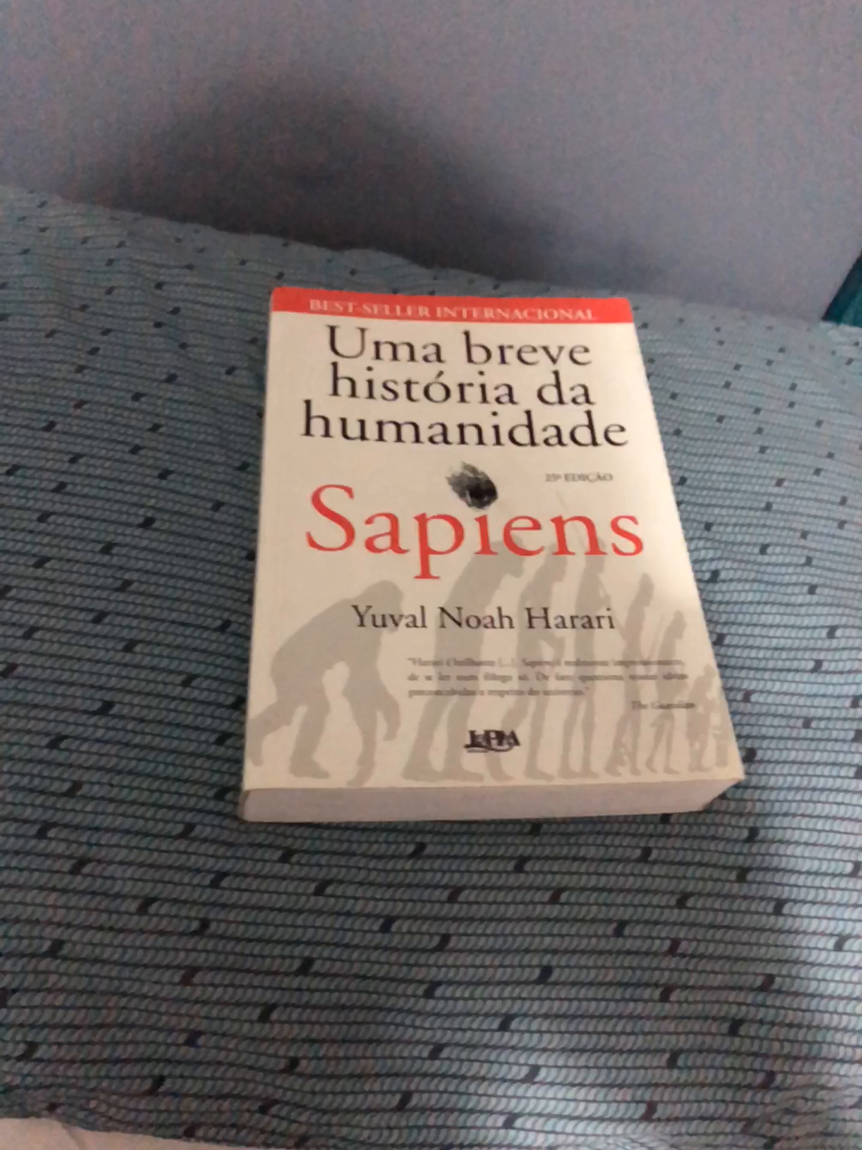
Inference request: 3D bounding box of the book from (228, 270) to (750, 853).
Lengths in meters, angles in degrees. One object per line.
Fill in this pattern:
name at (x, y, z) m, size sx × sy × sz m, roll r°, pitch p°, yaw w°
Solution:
book at (0.011, -0.019, 0.373) m, size 0.160 × 0.040 × 0.241 m, roll 1°, pitch 56°, yaw -8°
